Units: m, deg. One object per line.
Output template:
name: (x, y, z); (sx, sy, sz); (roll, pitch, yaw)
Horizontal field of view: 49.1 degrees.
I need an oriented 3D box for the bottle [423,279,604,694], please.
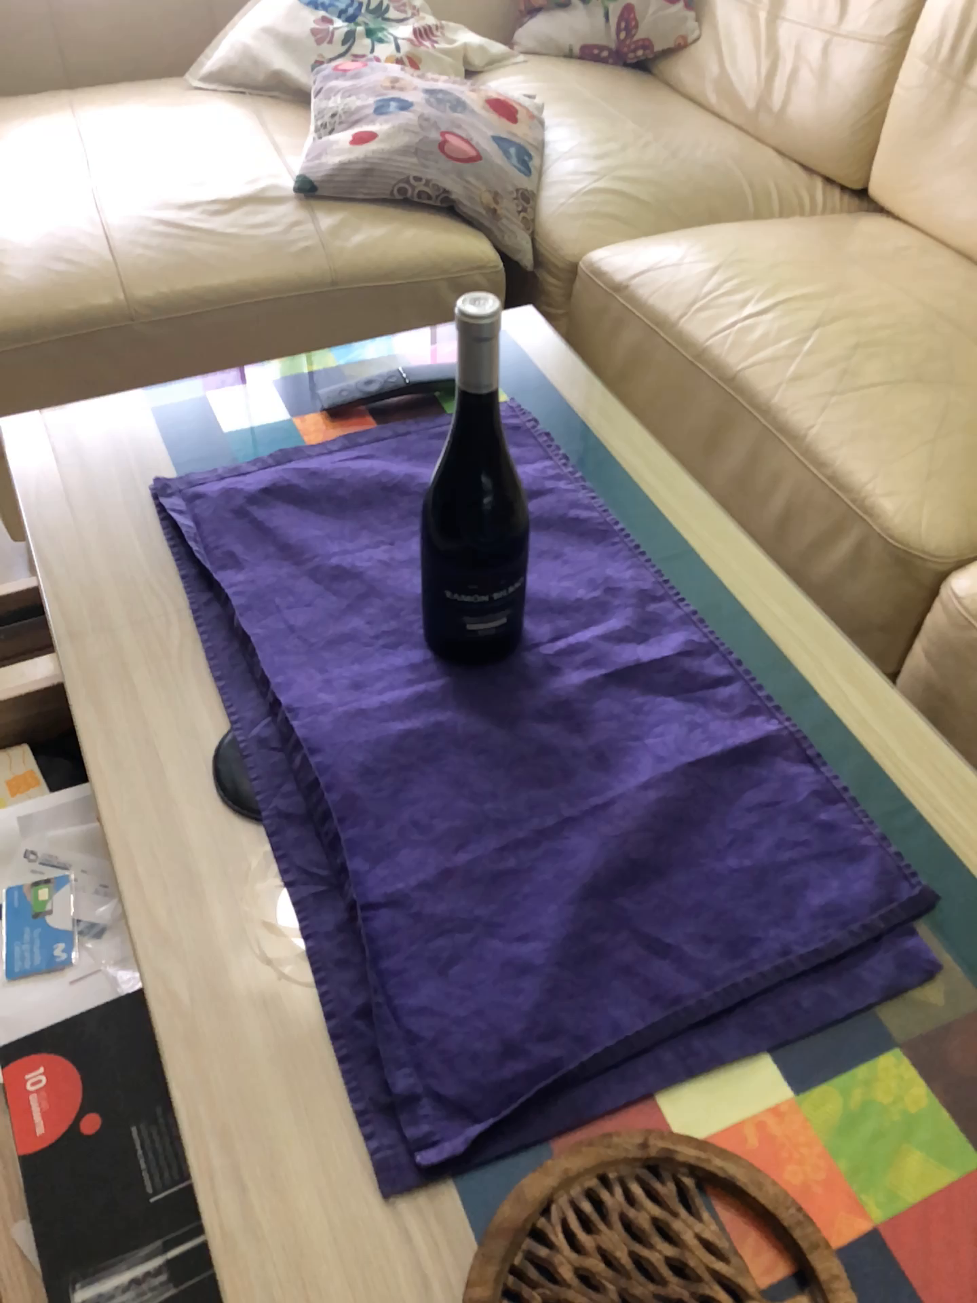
bottle: (0.008, -0.099, 0.721); (0.100, 0.269, 0.100); (1, 46, -1)
